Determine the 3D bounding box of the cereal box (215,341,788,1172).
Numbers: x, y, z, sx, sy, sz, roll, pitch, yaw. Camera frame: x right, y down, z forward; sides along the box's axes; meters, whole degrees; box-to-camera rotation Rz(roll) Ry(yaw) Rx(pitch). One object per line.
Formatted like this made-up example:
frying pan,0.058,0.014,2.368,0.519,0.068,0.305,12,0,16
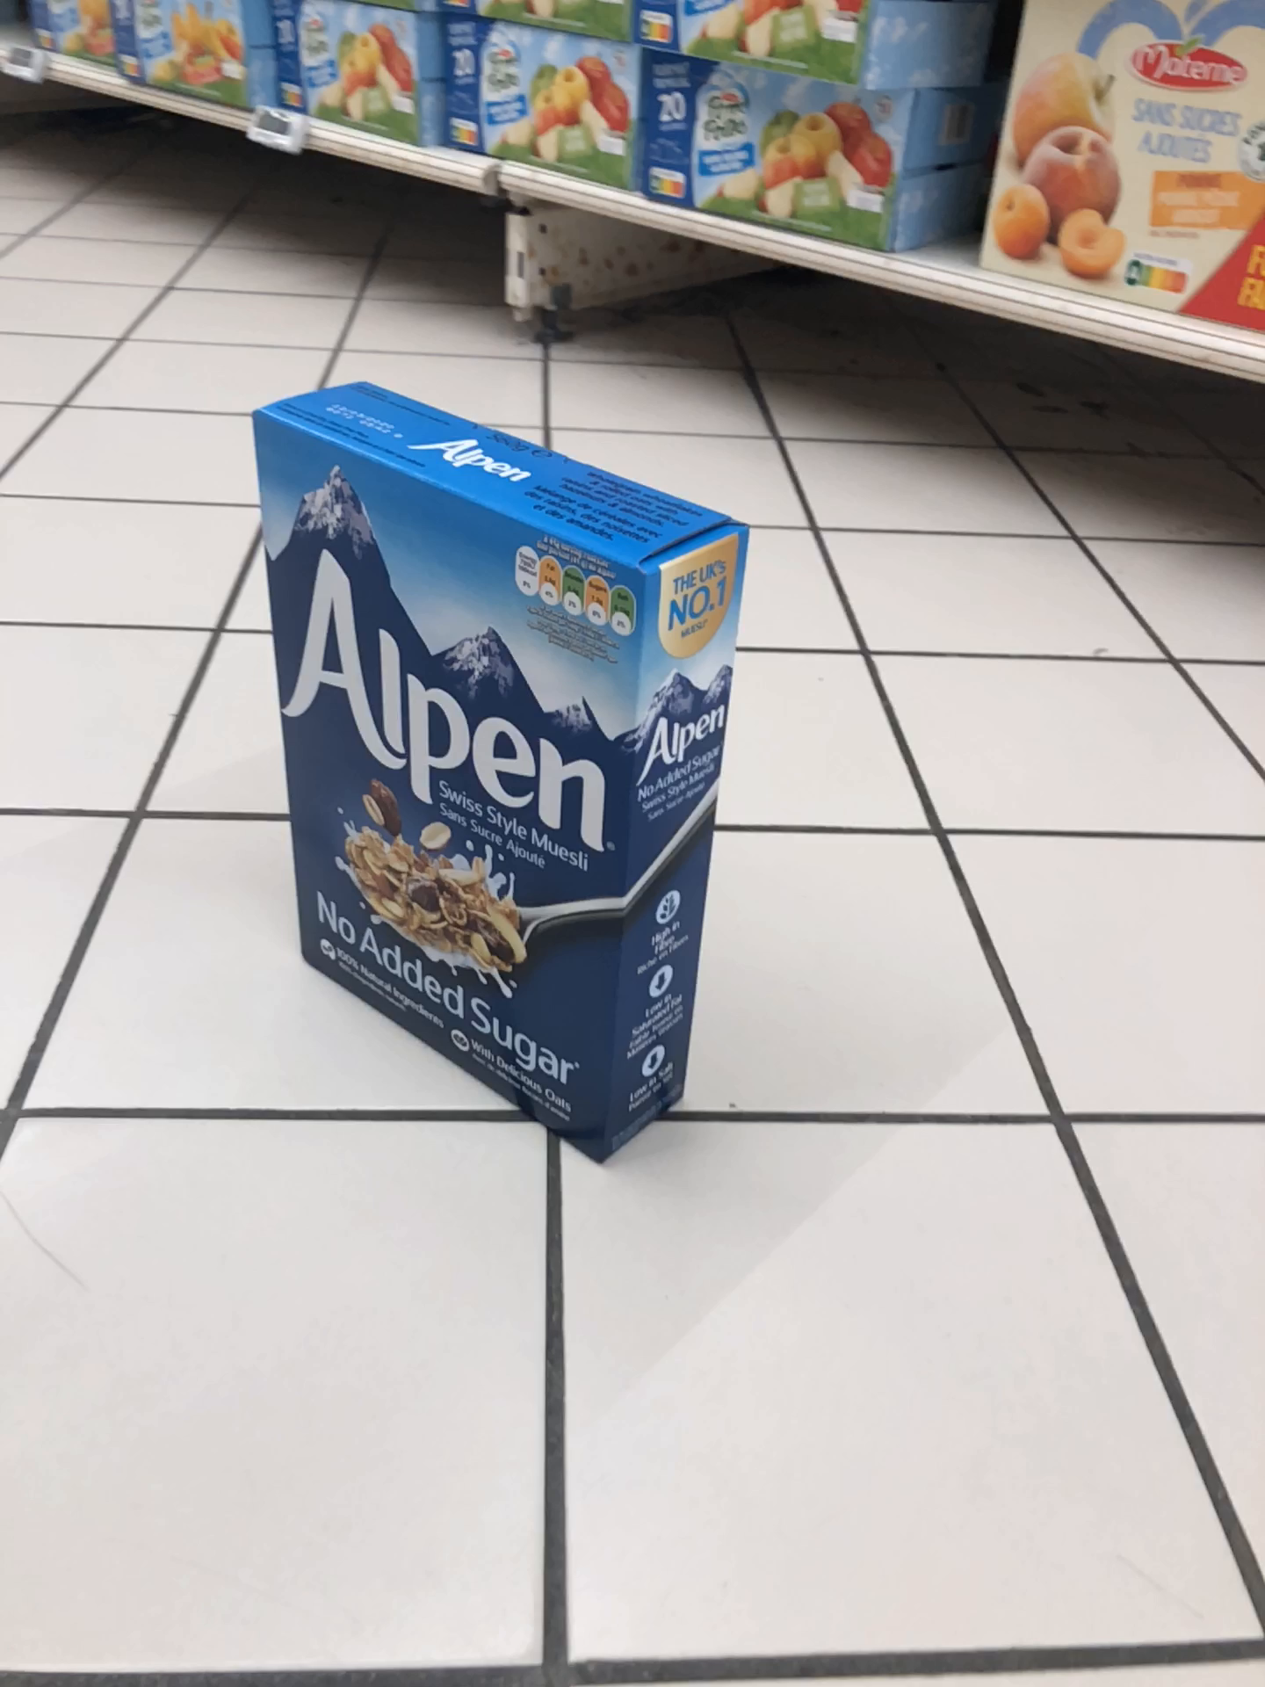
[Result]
cereal box,-0.051,-0.030,0.478,0.180,0.228,0.060,28,41,30
